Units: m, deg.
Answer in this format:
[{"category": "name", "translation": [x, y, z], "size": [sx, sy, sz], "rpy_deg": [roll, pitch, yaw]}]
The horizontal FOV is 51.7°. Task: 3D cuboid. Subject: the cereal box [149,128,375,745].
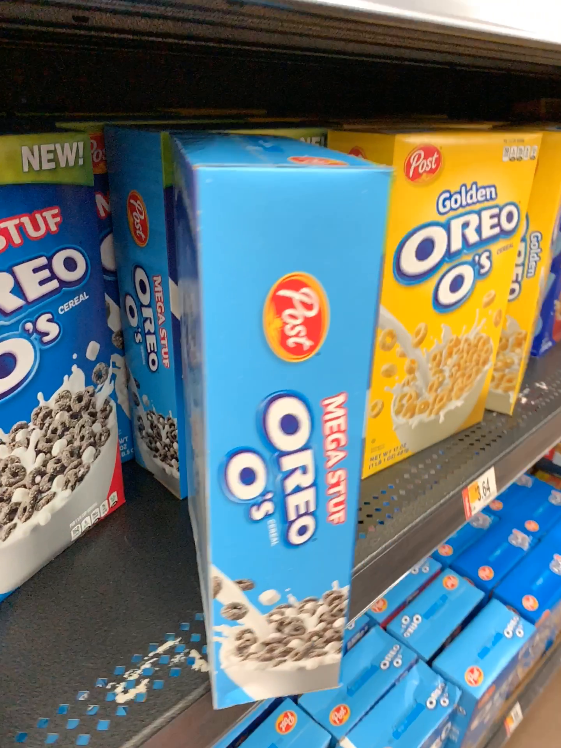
[{"category": "cereal box", "translation": [-0.033, 0.026, 0.377], "size": [0.080, 0.328, 0.211], "rpy_deg": [-4, 26, -13]}]
